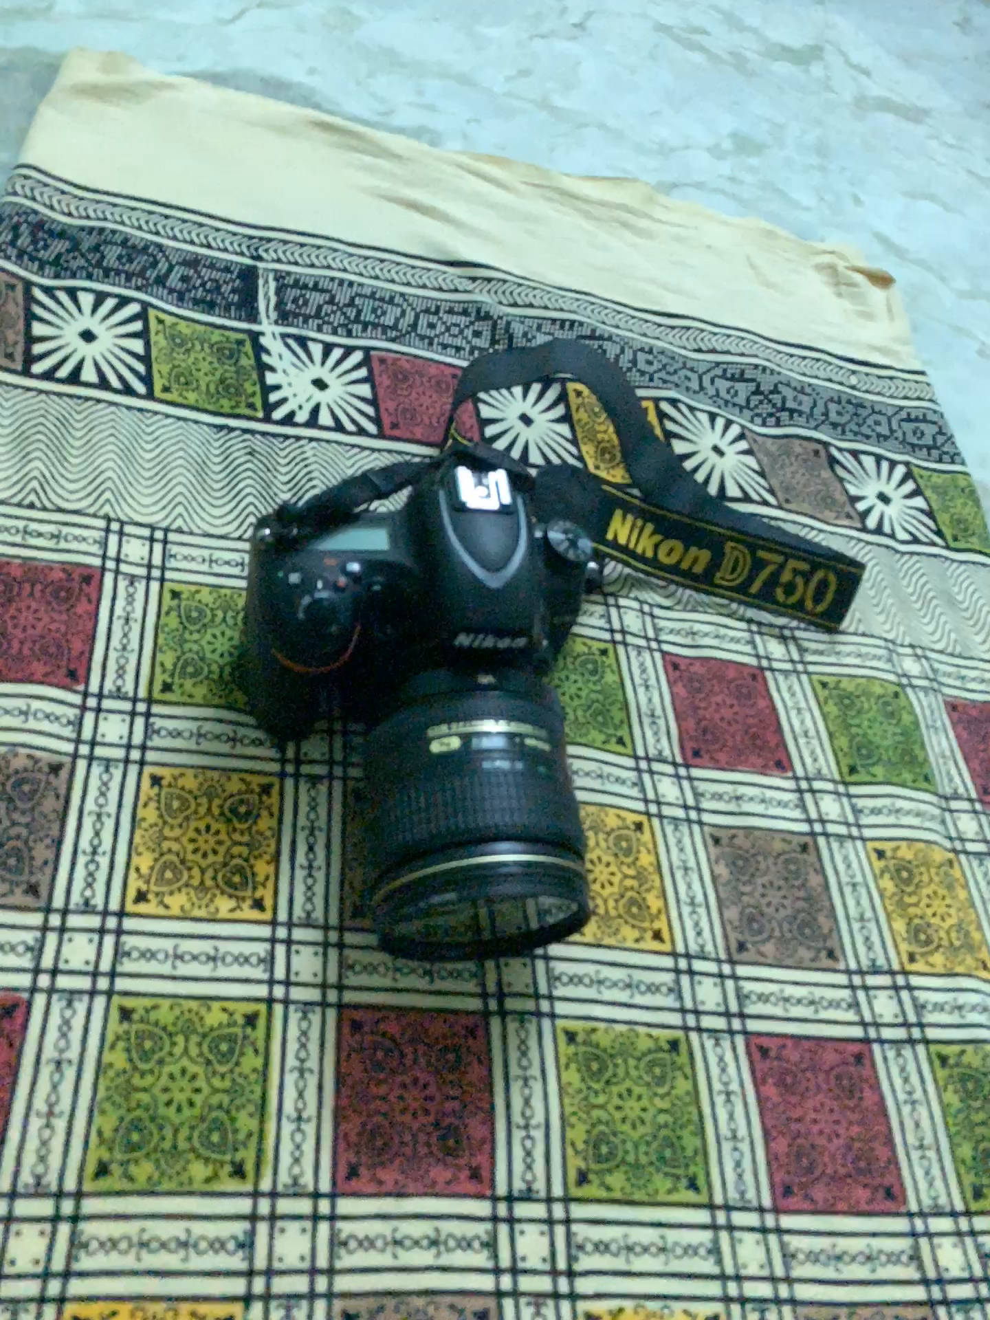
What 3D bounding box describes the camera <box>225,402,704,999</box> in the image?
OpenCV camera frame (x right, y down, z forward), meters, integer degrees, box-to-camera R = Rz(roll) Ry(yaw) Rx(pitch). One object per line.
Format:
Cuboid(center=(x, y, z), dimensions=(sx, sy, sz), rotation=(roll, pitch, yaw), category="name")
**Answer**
Cuboid(center=(-0.028, 0.012, 0.380), dimensions=(0.140, 0.100, 0.190), rotation=(1, 56, -16), category="camera")
